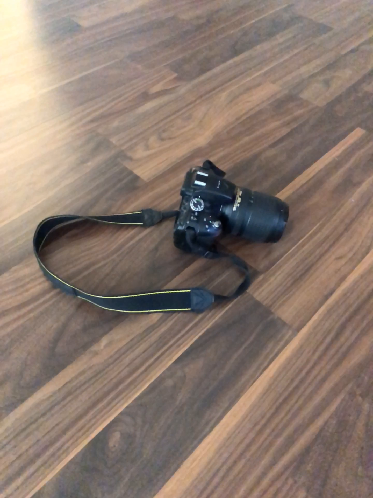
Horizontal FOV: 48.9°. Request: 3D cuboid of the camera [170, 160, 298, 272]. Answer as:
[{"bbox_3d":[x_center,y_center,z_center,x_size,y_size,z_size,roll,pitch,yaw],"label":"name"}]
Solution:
[{"bbox_3d":[0.068,-0.049,0.585,0.160,0.070,0.120,10,51,5],"label":"camera"}]
